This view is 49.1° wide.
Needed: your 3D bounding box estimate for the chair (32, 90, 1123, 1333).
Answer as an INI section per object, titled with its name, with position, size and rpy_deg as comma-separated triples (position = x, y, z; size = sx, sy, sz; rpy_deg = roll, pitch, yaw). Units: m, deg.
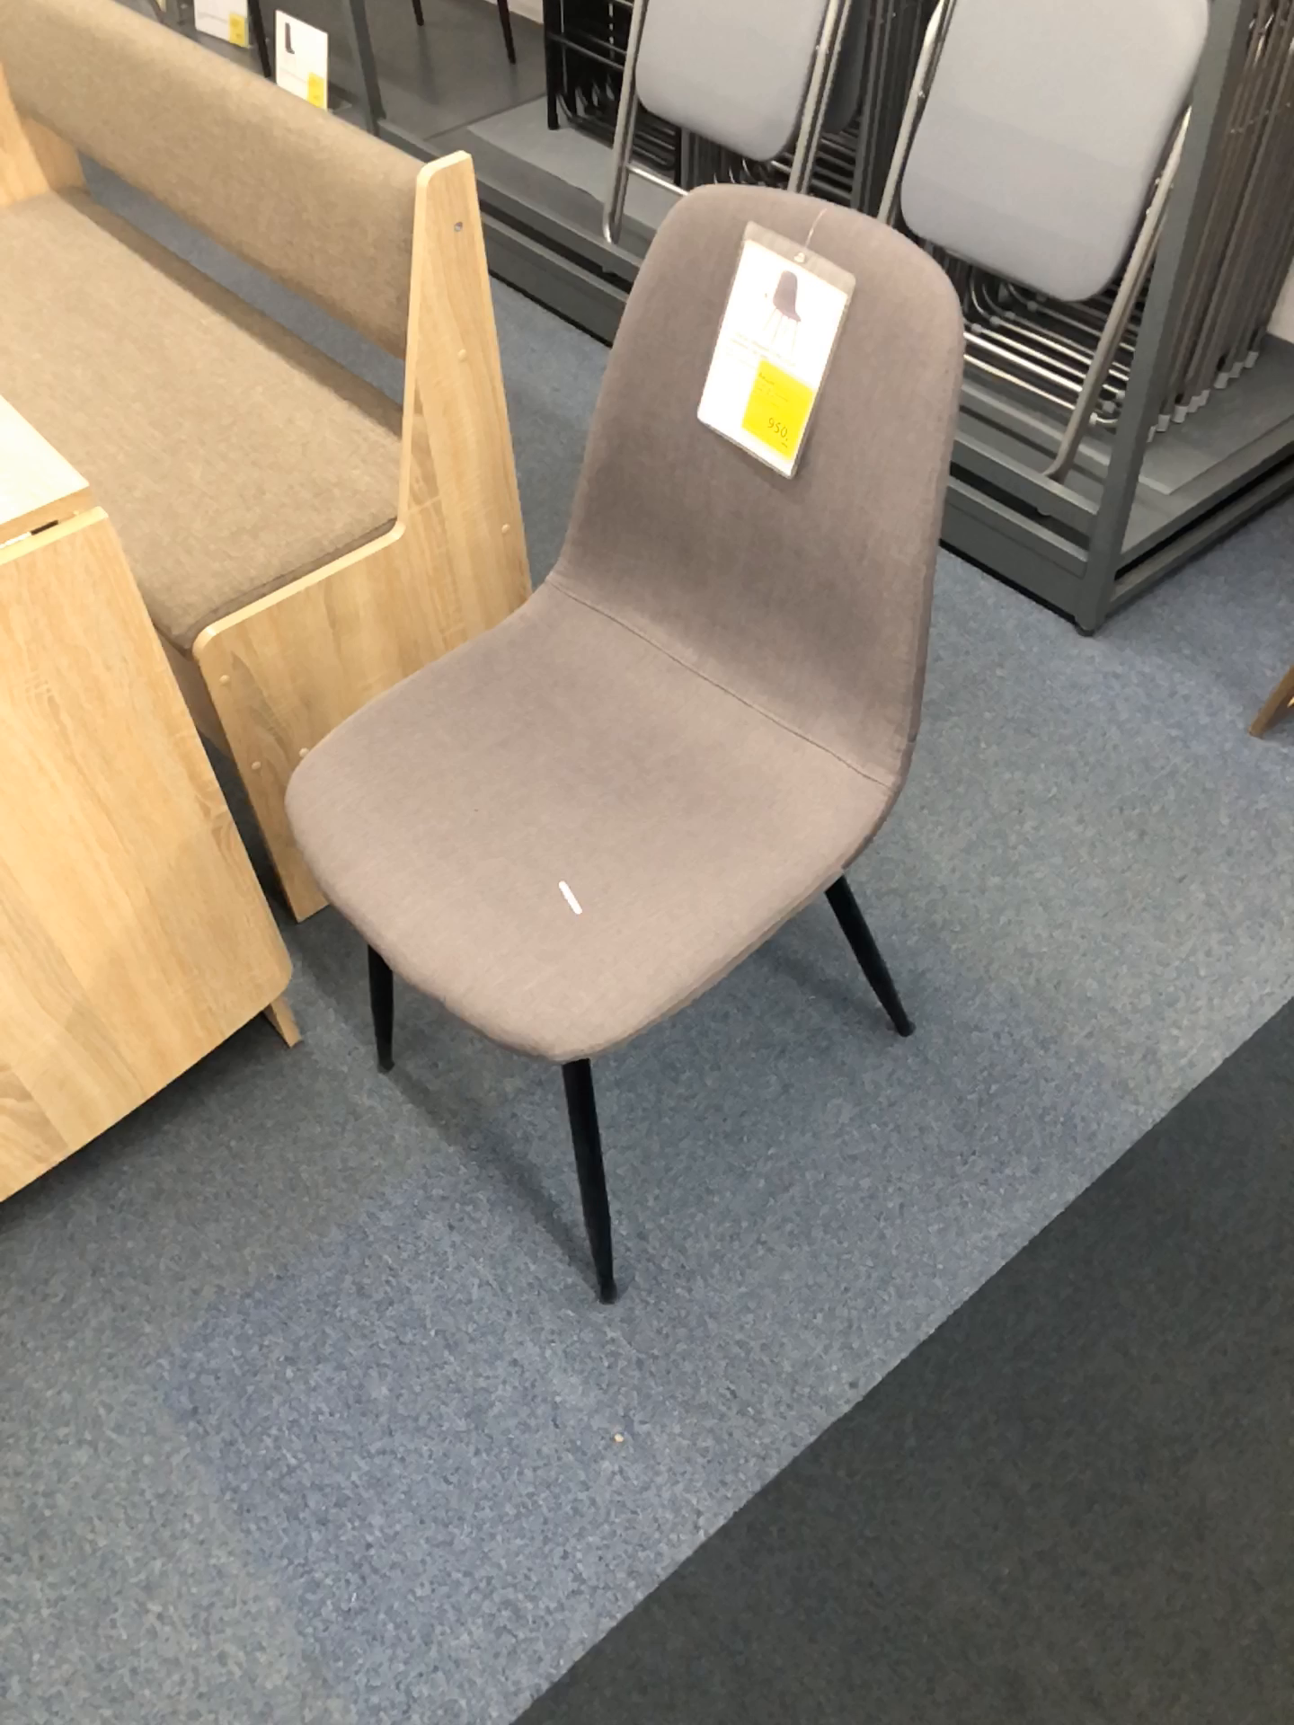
[chair]
position = -0.028, -0.101, 1.241
size = 0.541, 0.807, 0.481
rpy_deg = -36, 56, -24
